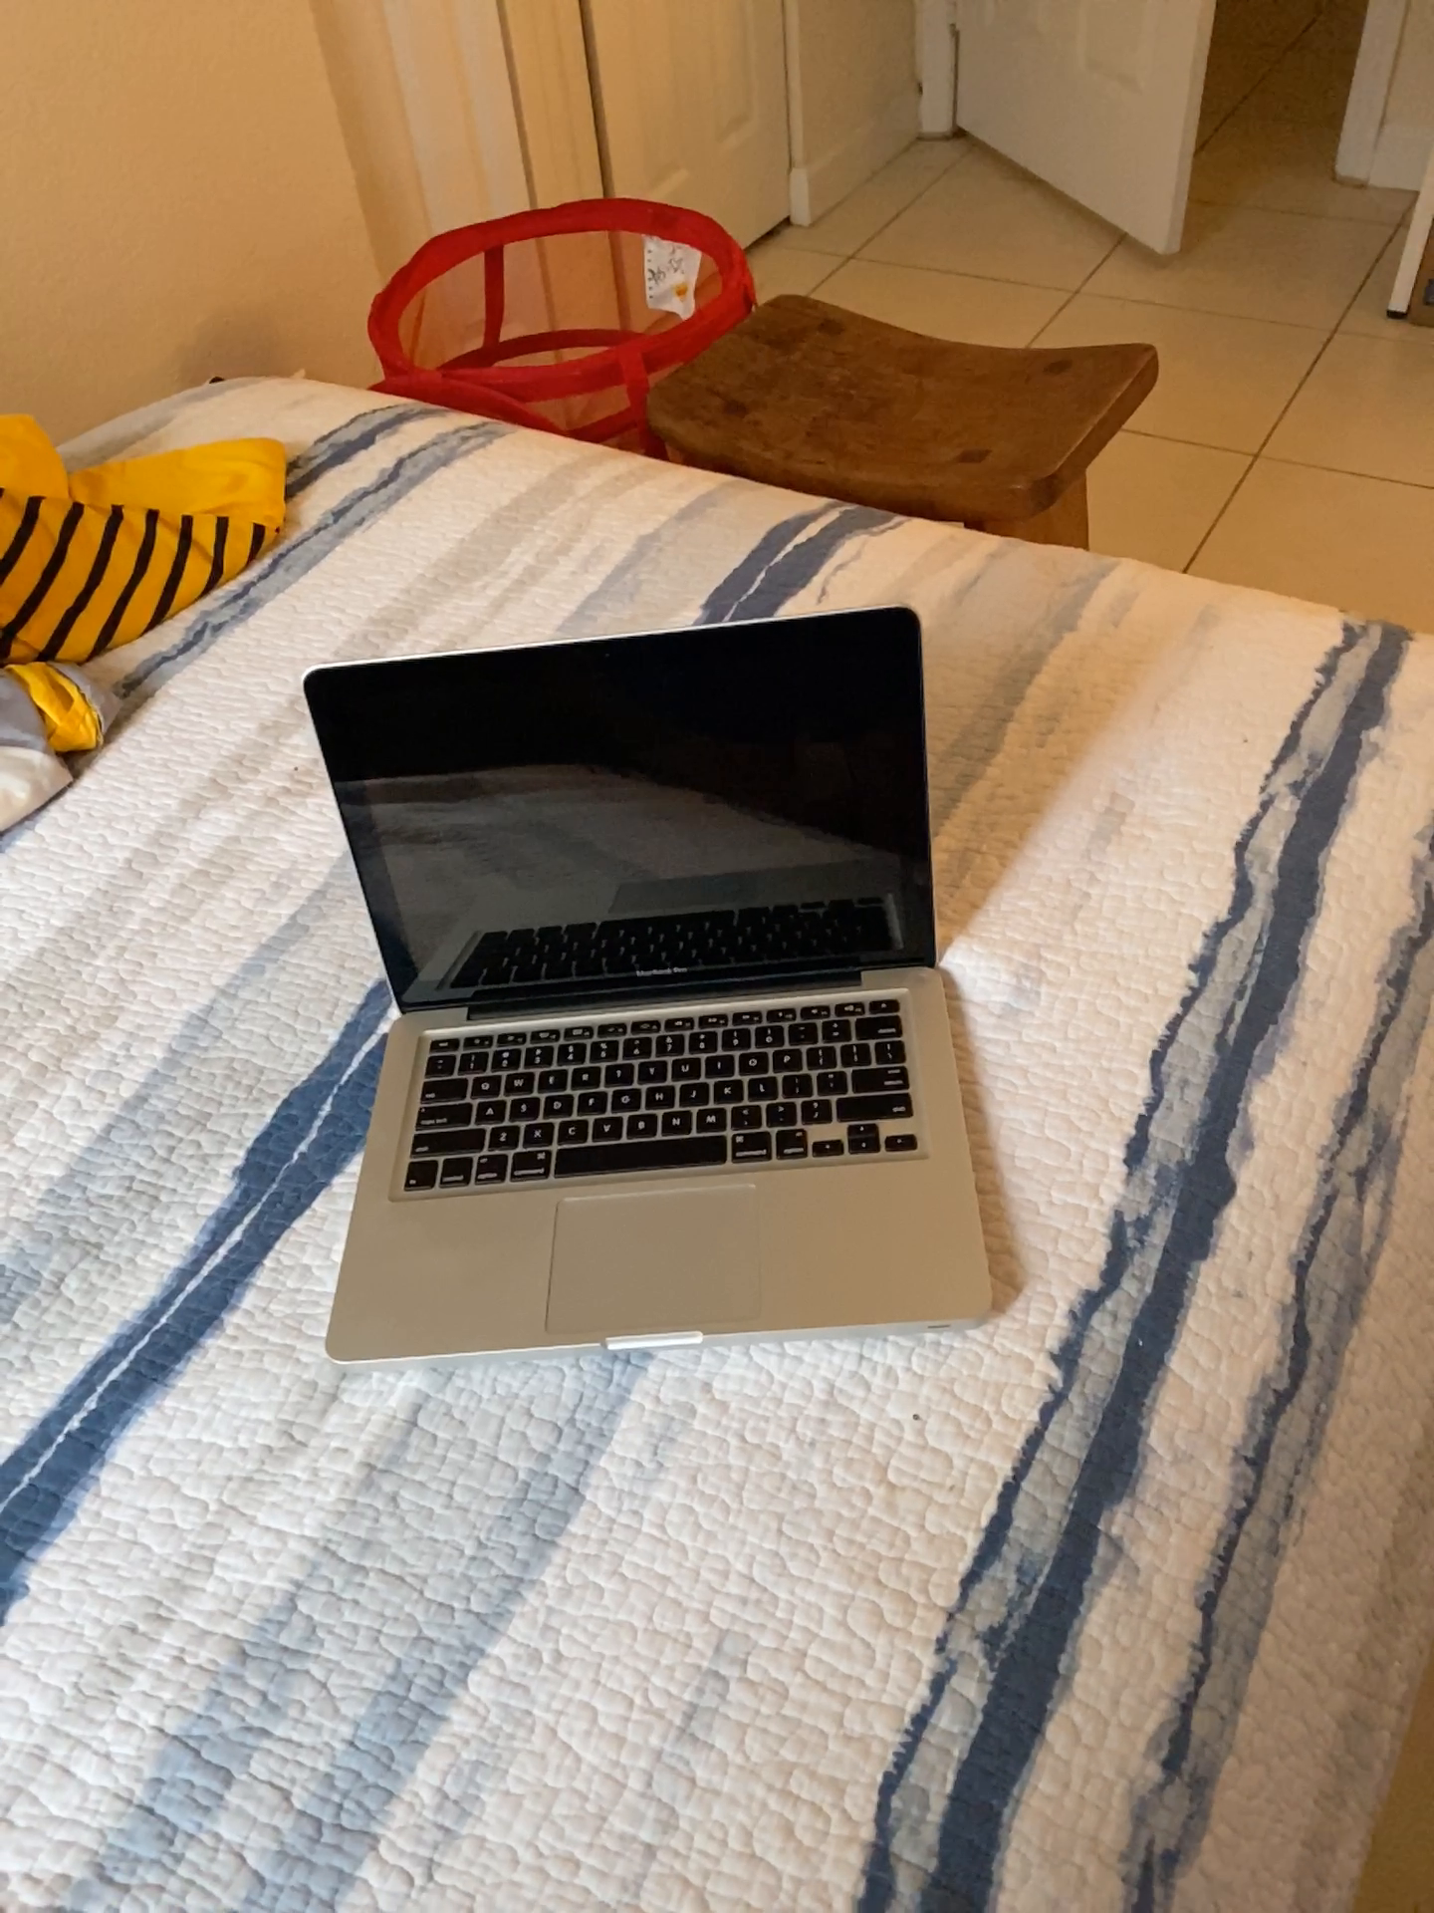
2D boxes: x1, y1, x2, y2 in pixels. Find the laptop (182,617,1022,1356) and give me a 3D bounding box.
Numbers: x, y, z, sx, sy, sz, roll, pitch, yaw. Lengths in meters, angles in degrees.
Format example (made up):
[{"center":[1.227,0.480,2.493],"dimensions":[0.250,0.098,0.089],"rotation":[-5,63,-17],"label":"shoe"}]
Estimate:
[{"center":[-0.040,0.011,0.717],"dimensions":[0.318,0.199,0.279],"rotation":[-5,45,4],"label":"laptop"}]
